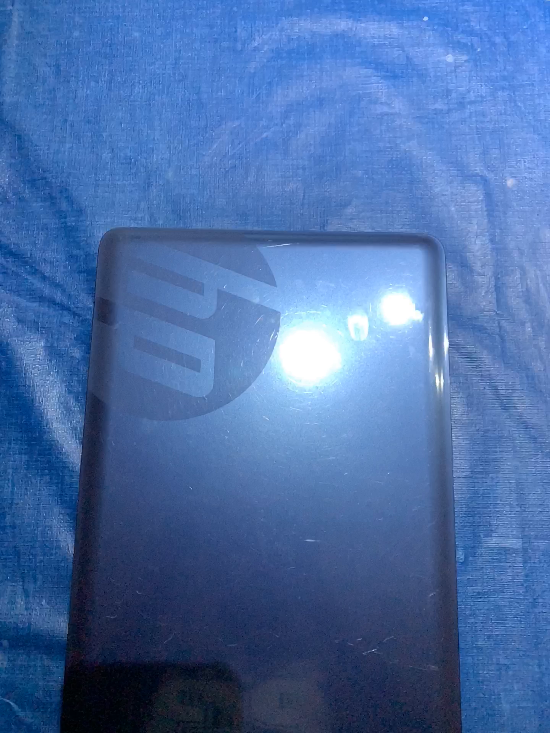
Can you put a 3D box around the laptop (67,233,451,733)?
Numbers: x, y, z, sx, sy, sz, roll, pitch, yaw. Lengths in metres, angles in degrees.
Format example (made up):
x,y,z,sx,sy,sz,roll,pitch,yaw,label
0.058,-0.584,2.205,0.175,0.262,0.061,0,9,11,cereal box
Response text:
x,y,z,sx,sy,sz,roll,pitch,yaw,label
-0.005,0.088,0.378,0.235,0.009,0.363,1,81,0,laptop
